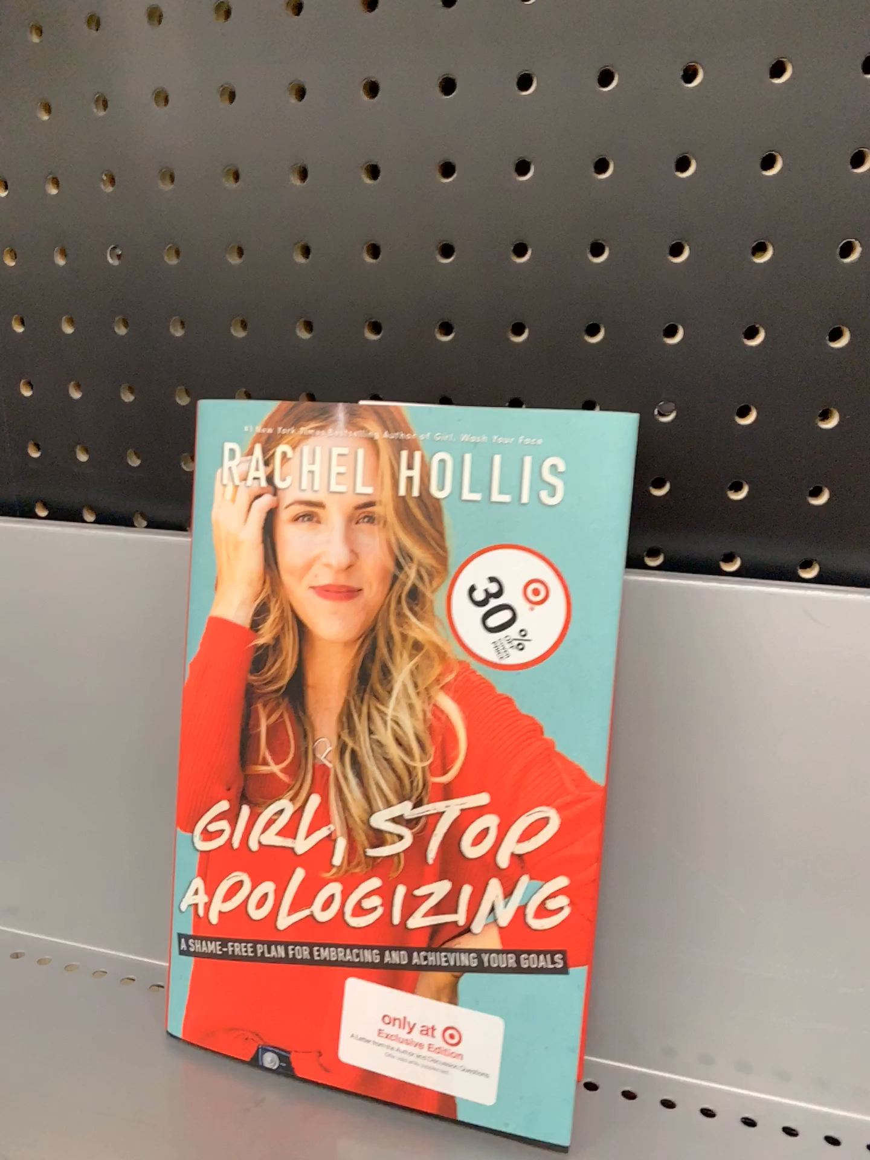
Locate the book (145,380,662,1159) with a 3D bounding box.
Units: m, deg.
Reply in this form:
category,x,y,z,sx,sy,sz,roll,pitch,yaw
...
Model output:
category,x,y,z,sx,sy,sz,roll,pitch,yaw
book,-0.014,0.051,0.295,0.149,0.220,0.035,6,4,18
